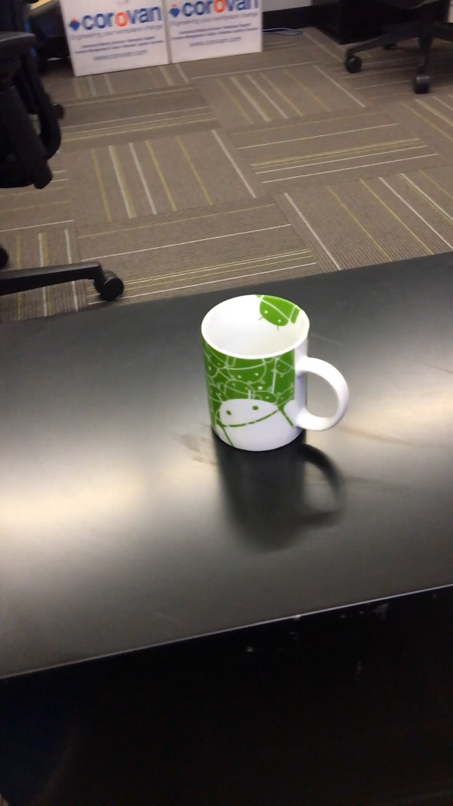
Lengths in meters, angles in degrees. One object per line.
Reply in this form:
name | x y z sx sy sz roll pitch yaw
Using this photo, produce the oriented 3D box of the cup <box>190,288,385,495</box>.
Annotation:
cup | 0.050 -0.011 0.528 0.120 0.110 0.090 13 44 19
